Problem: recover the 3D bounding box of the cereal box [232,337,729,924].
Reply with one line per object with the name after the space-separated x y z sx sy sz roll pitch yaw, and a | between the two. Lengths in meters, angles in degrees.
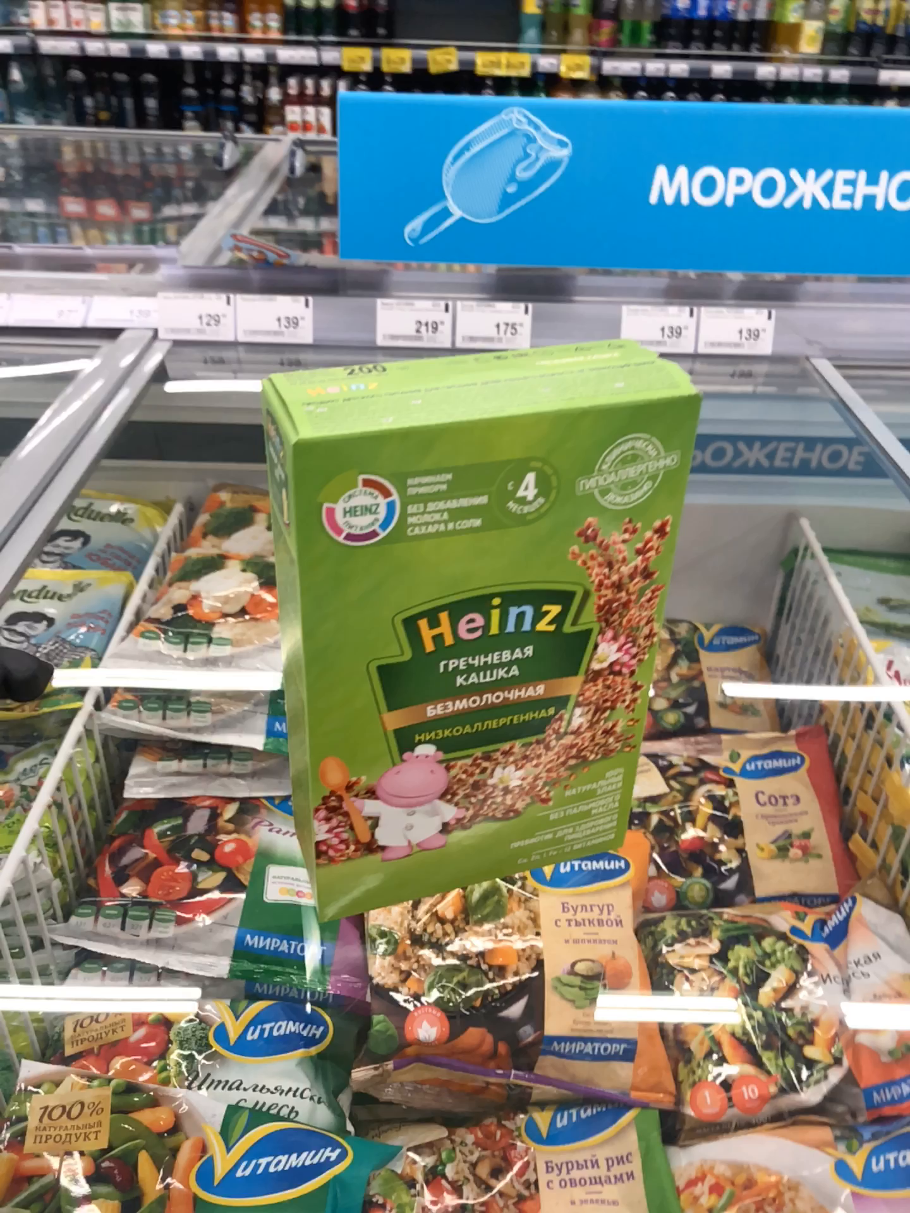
0.005 0.012 0.352 0.140 0.189 0.050 -9 35 -16 | cereal box
